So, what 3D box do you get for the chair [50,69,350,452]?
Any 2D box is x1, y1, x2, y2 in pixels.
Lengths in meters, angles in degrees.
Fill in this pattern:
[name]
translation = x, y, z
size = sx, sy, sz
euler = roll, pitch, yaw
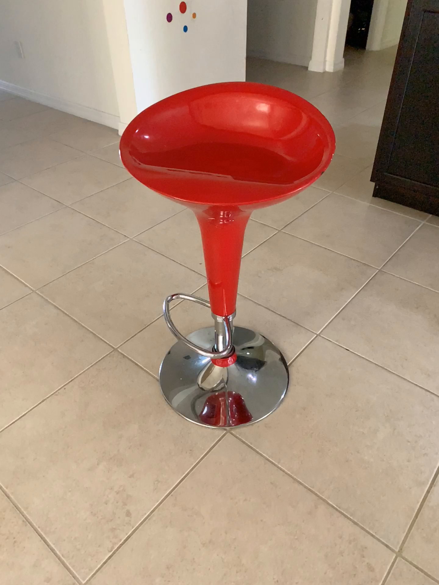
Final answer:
[chair]
translation = -0.002, -0.077, 1.081
size = 0.437, 0.726, 0.436
euler = 13, 40, 17
